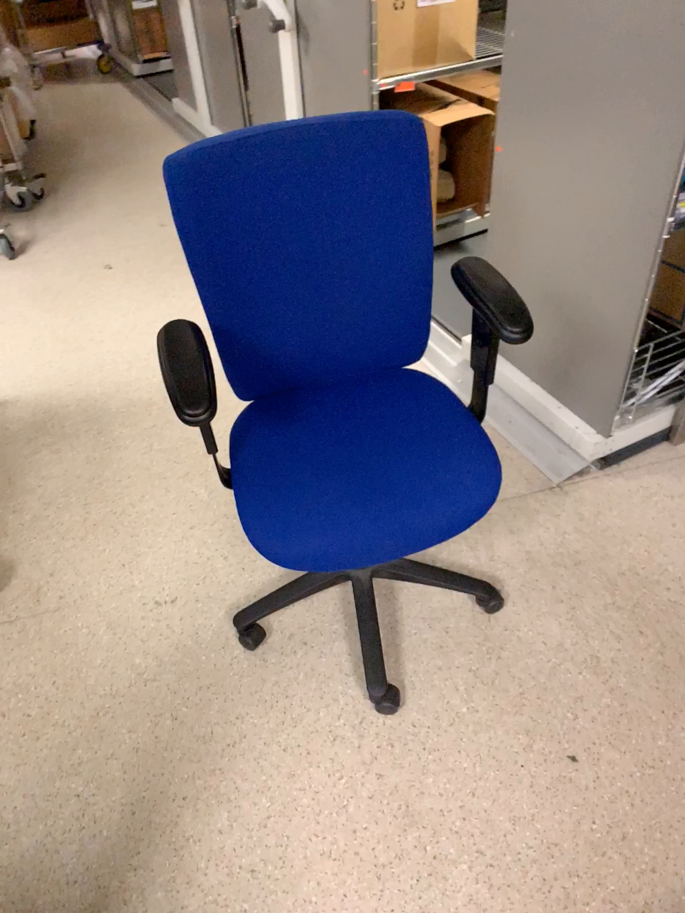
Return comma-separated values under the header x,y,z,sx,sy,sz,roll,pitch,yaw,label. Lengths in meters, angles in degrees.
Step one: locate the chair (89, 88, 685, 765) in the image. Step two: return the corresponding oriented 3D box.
x,y,z,sx,sy,sz,roll,pitch,yaw,label
0.013,-0.079,1.387,0.671,0.931,0.767,-17,43,-13,chair
